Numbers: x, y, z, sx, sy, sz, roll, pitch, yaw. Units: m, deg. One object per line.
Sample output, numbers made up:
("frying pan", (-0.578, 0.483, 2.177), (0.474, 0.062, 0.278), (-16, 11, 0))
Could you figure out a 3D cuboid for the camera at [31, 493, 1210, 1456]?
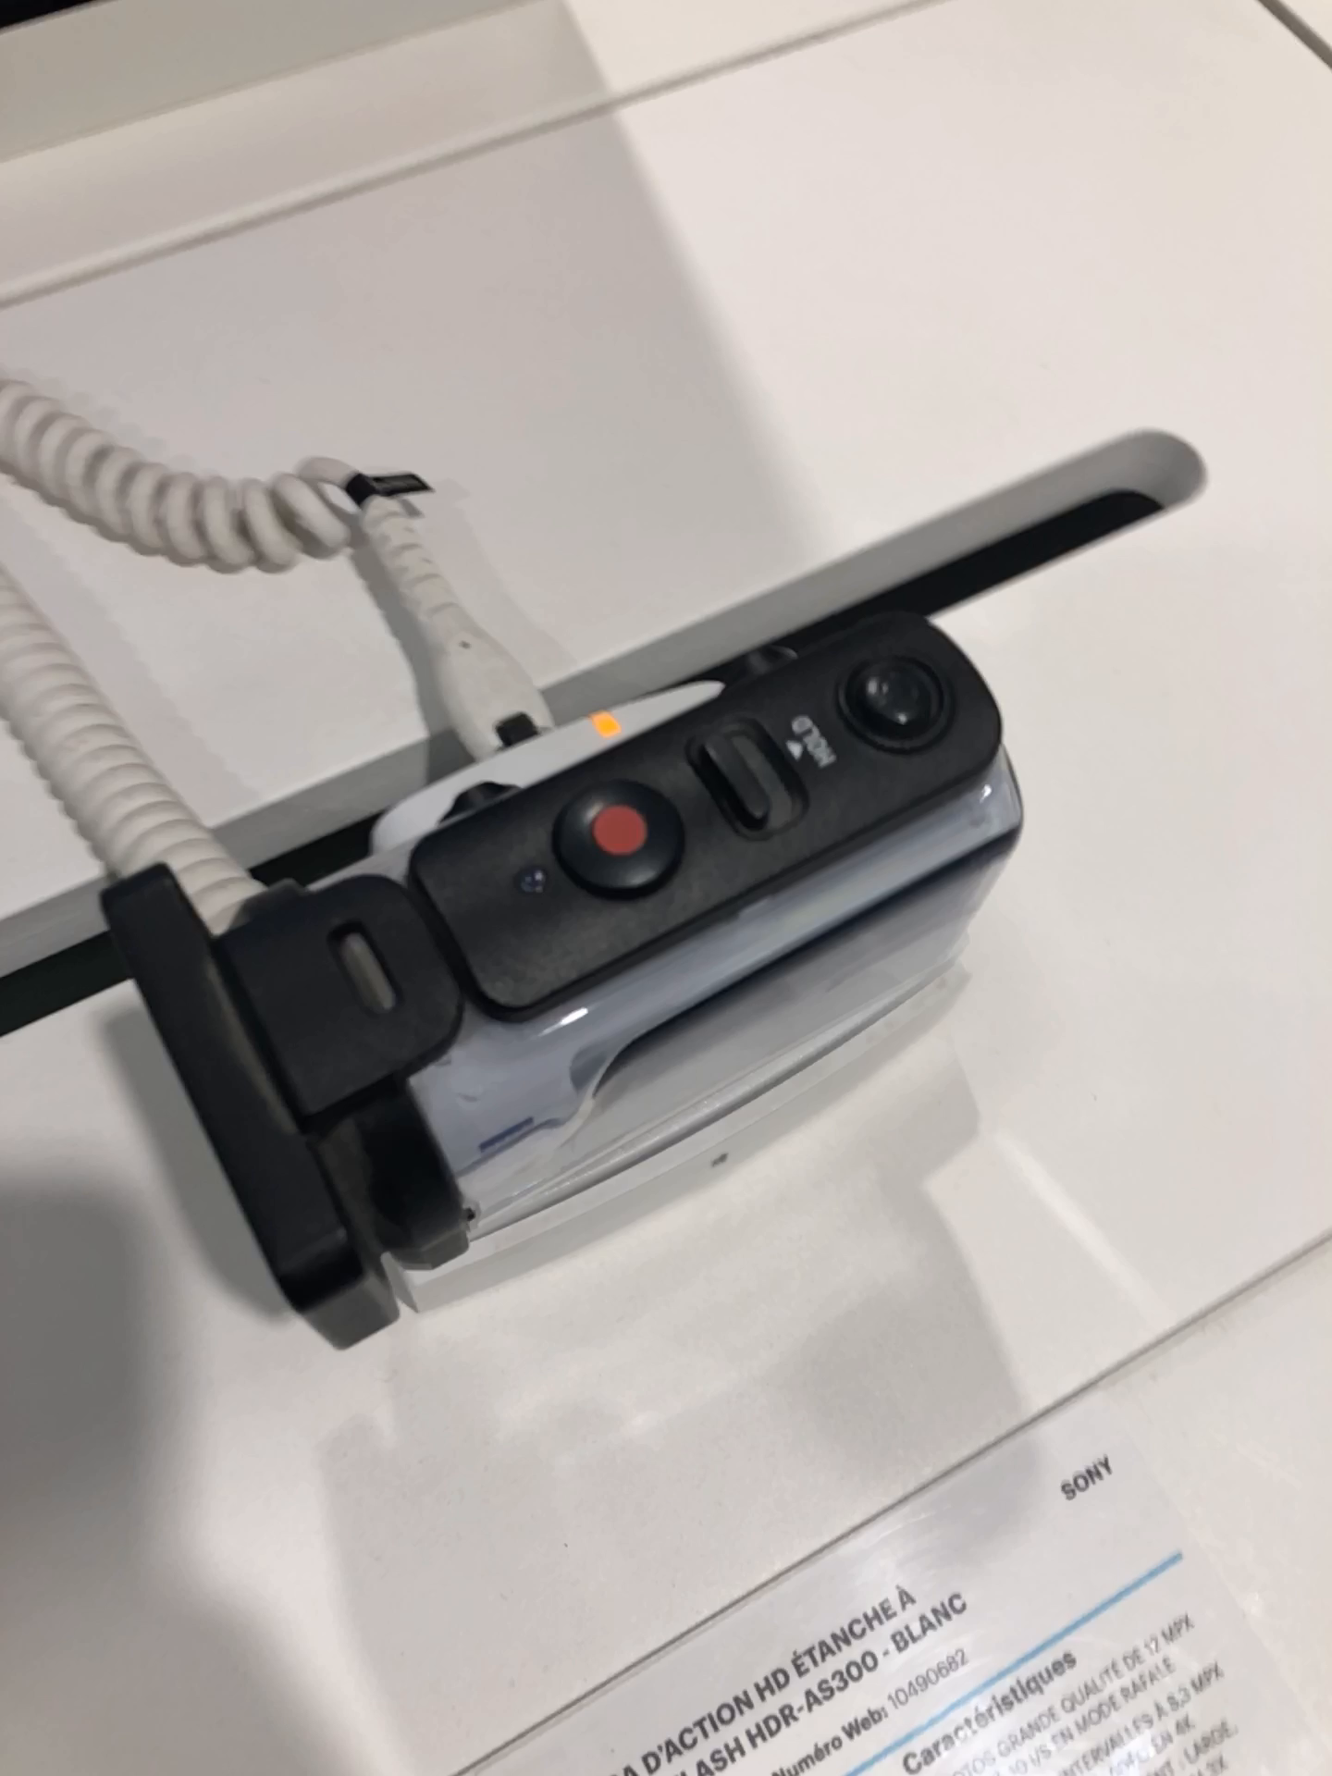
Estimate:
("camera", (-0.004, 0.008, 0.152), (0.093, 0.044, 0.049), (-26, 67, -15))
